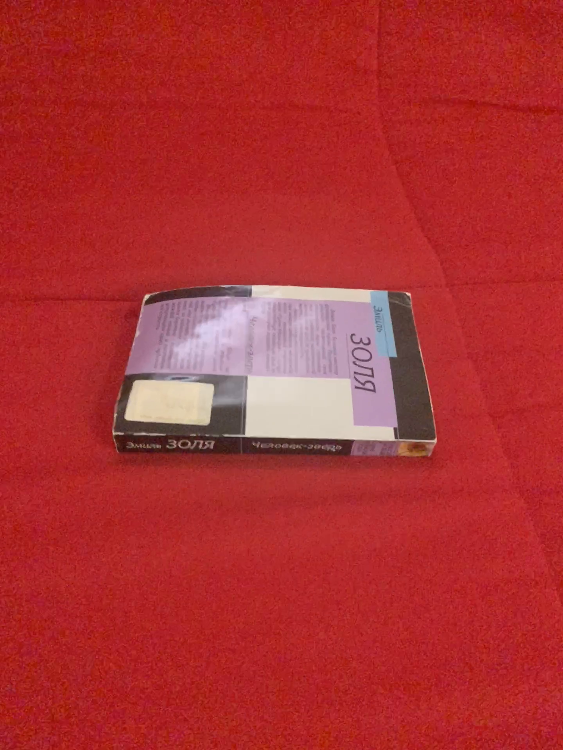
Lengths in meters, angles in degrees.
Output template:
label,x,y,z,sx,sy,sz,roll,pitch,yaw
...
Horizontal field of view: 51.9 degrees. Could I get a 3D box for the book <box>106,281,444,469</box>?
label,x,y,z,sx,sy,sz,roll,pitch,yaw
book,-0.003,-0.003,0.339,0.170,0.033,0.109,1,51,-2
